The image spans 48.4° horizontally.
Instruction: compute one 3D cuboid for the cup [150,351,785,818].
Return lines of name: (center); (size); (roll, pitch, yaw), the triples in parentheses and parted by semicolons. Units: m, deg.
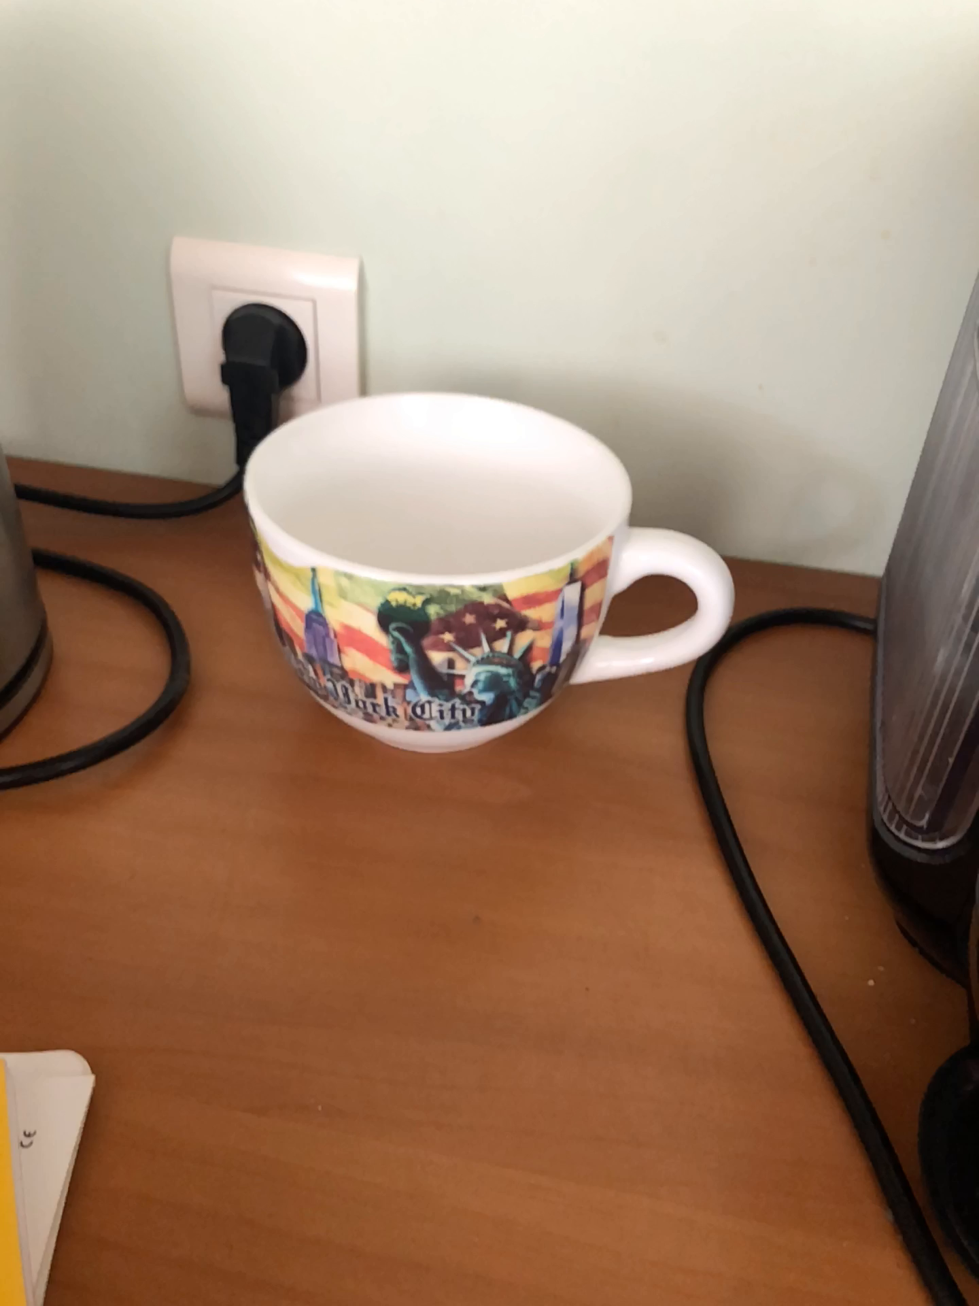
cup: (0.000, -0.032, 0.361); (0.170, 0.070, 0.121); (12, 38, 11)
